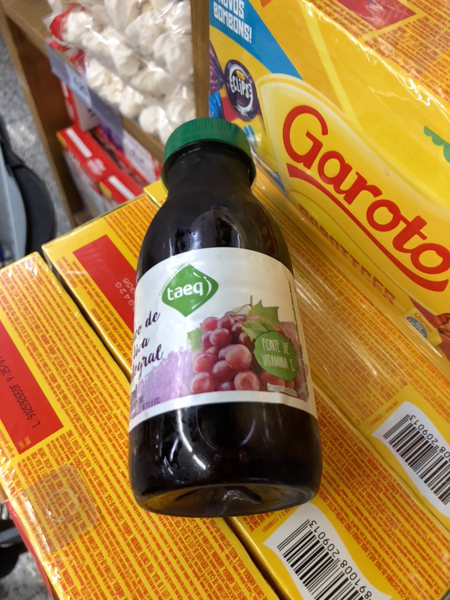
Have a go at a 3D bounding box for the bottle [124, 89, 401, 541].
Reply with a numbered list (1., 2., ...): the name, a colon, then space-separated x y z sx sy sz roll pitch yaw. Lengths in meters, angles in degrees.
1. bottle: 0.005 -0.007 0.194 0.070 0.050 0.171 -1 57 -3
